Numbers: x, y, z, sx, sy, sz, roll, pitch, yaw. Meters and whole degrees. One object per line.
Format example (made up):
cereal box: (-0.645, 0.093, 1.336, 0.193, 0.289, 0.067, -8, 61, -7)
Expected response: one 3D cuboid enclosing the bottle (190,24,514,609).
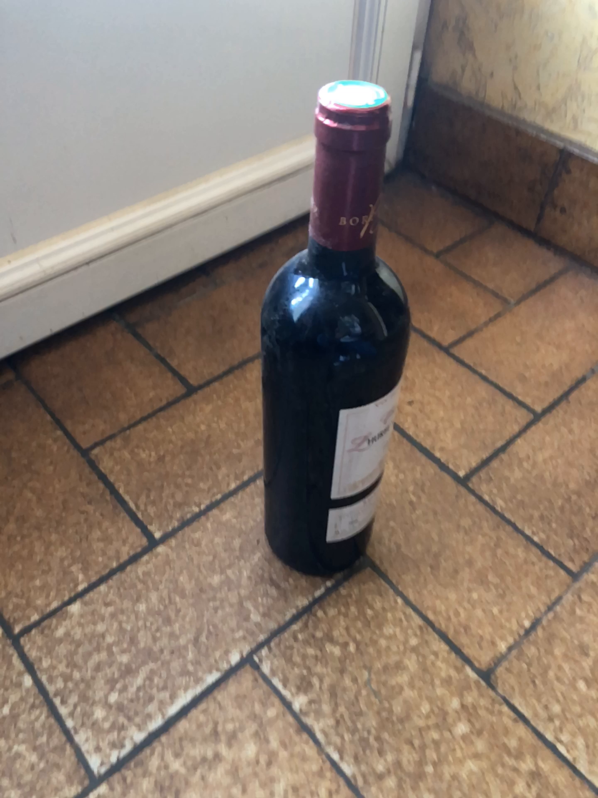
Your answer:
bottle: (0.018, -0.013, 0.337, 0.090, 0.288, 0.091, 1, 47, -1)
